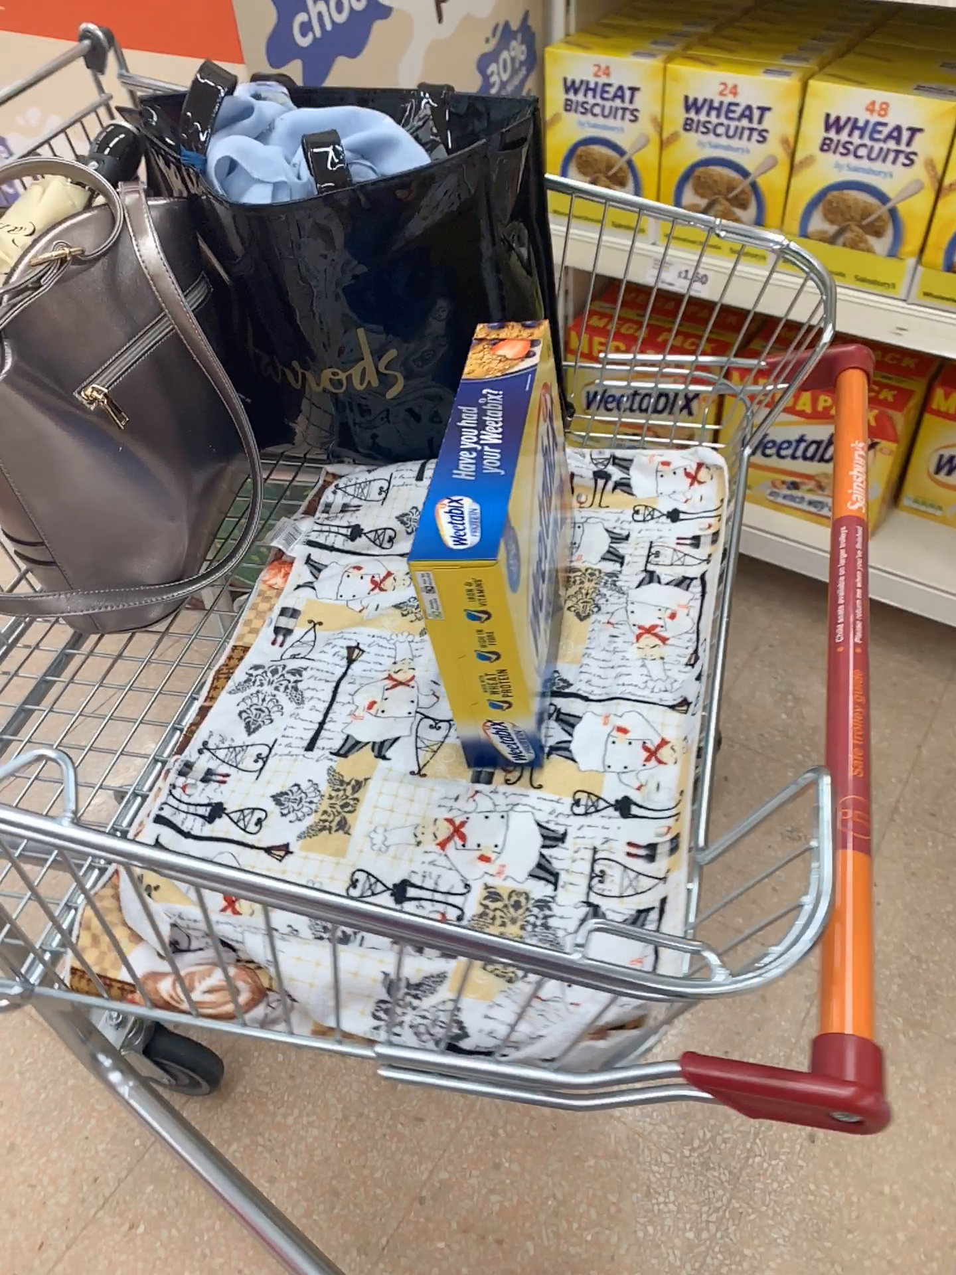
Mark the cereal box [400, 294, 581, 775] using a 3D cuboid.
[{"bbox_3d":[0.022,-0.074,0.659,0.060,0.198,0.262,-2,44,12],"label":"cereal box"}]
